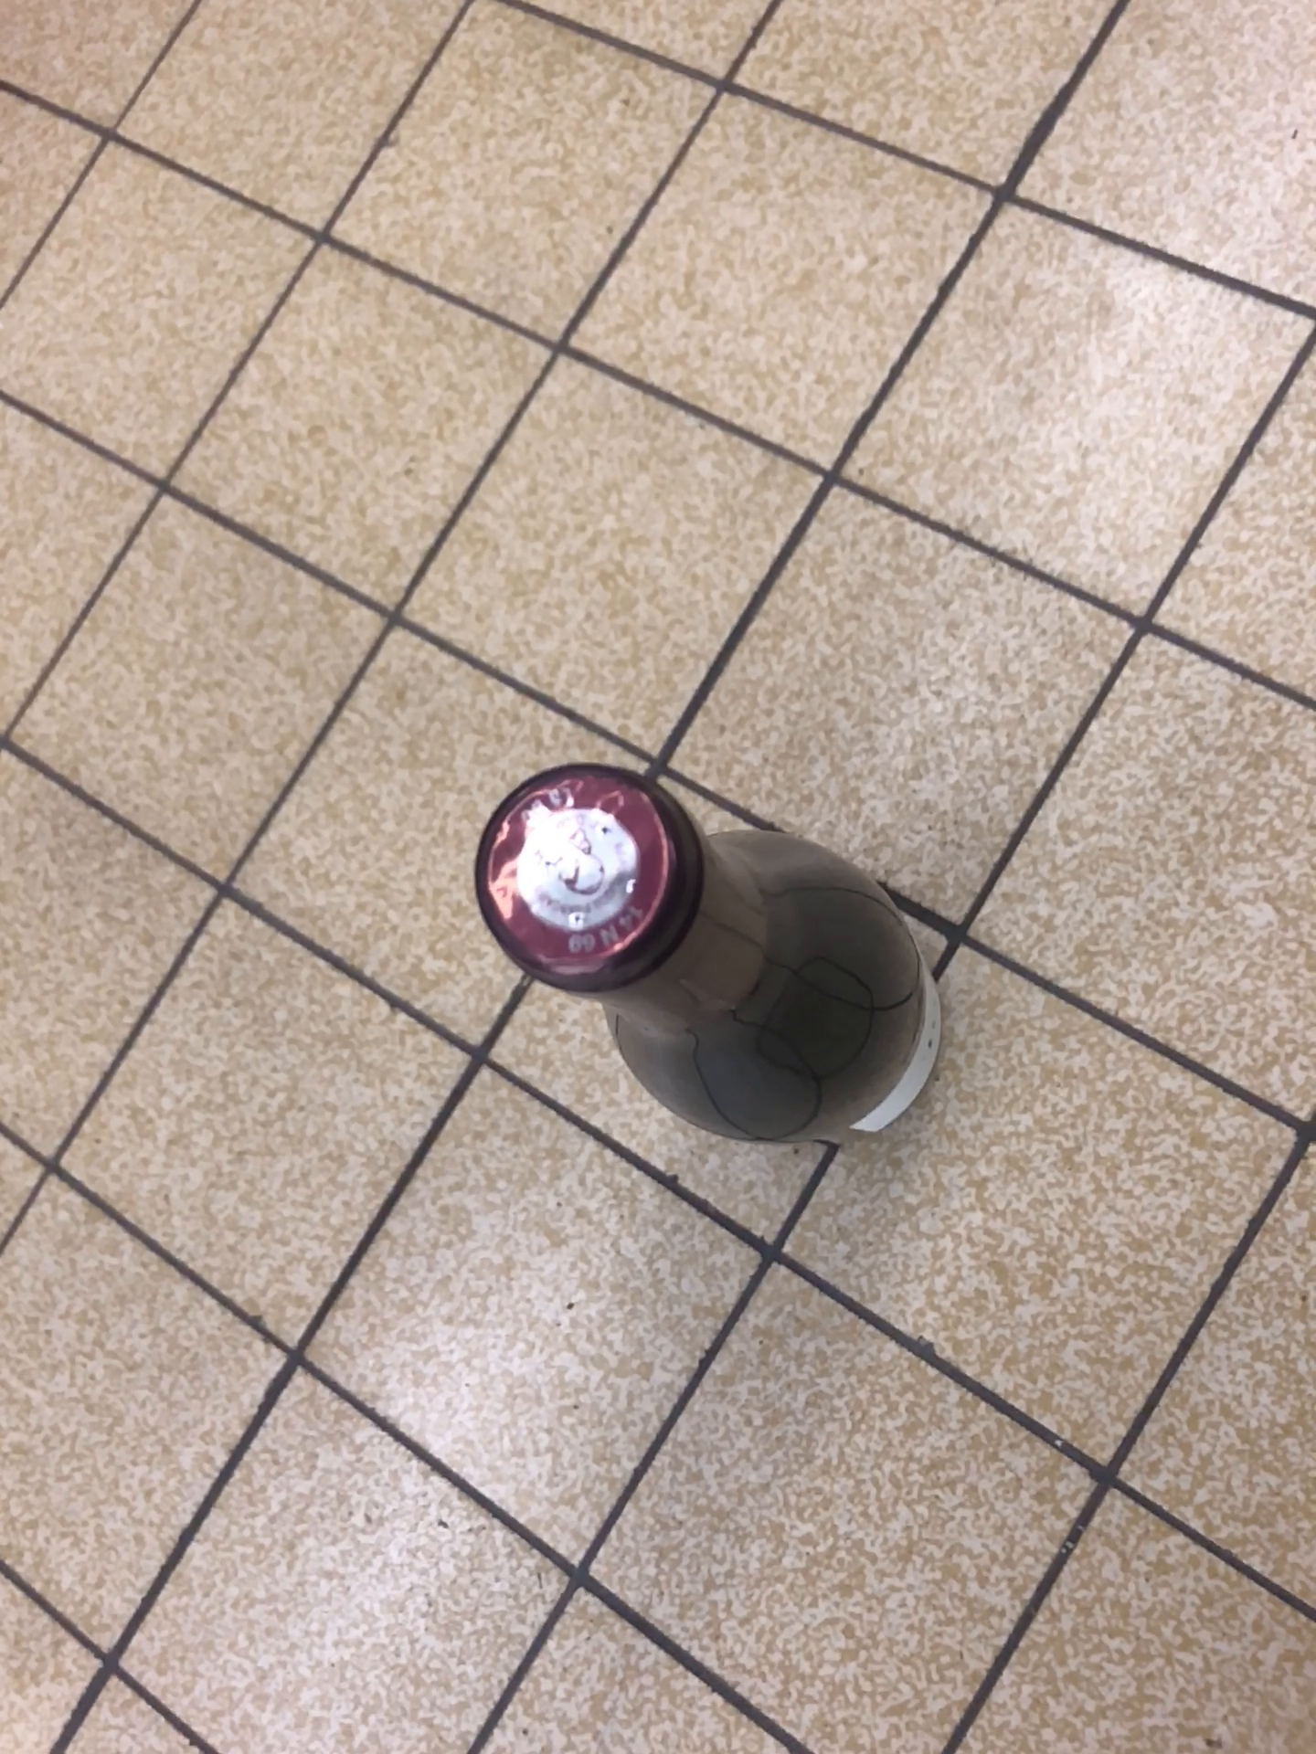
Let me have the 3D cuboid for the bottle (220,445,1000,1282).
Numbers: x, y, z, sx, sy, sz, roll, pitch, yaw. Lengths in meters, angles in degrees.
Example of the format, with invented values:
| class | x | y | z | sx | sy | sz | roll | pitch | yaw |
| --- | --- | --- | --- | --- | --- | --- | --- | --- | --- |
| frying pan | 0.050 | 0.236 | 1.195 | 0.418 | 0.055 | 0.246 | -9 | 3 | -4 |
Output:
| class | x | y | z | sx | sy | sz | roll | pitch | yaw |
| --- | --- | --- | --- | --- | --- | --- | --- | --- | --- |
| bottle | 0.017 | 0.020 | 0.287 | 0.070 | 0.240 | 0.080 | -23 | 74 | 8 |
